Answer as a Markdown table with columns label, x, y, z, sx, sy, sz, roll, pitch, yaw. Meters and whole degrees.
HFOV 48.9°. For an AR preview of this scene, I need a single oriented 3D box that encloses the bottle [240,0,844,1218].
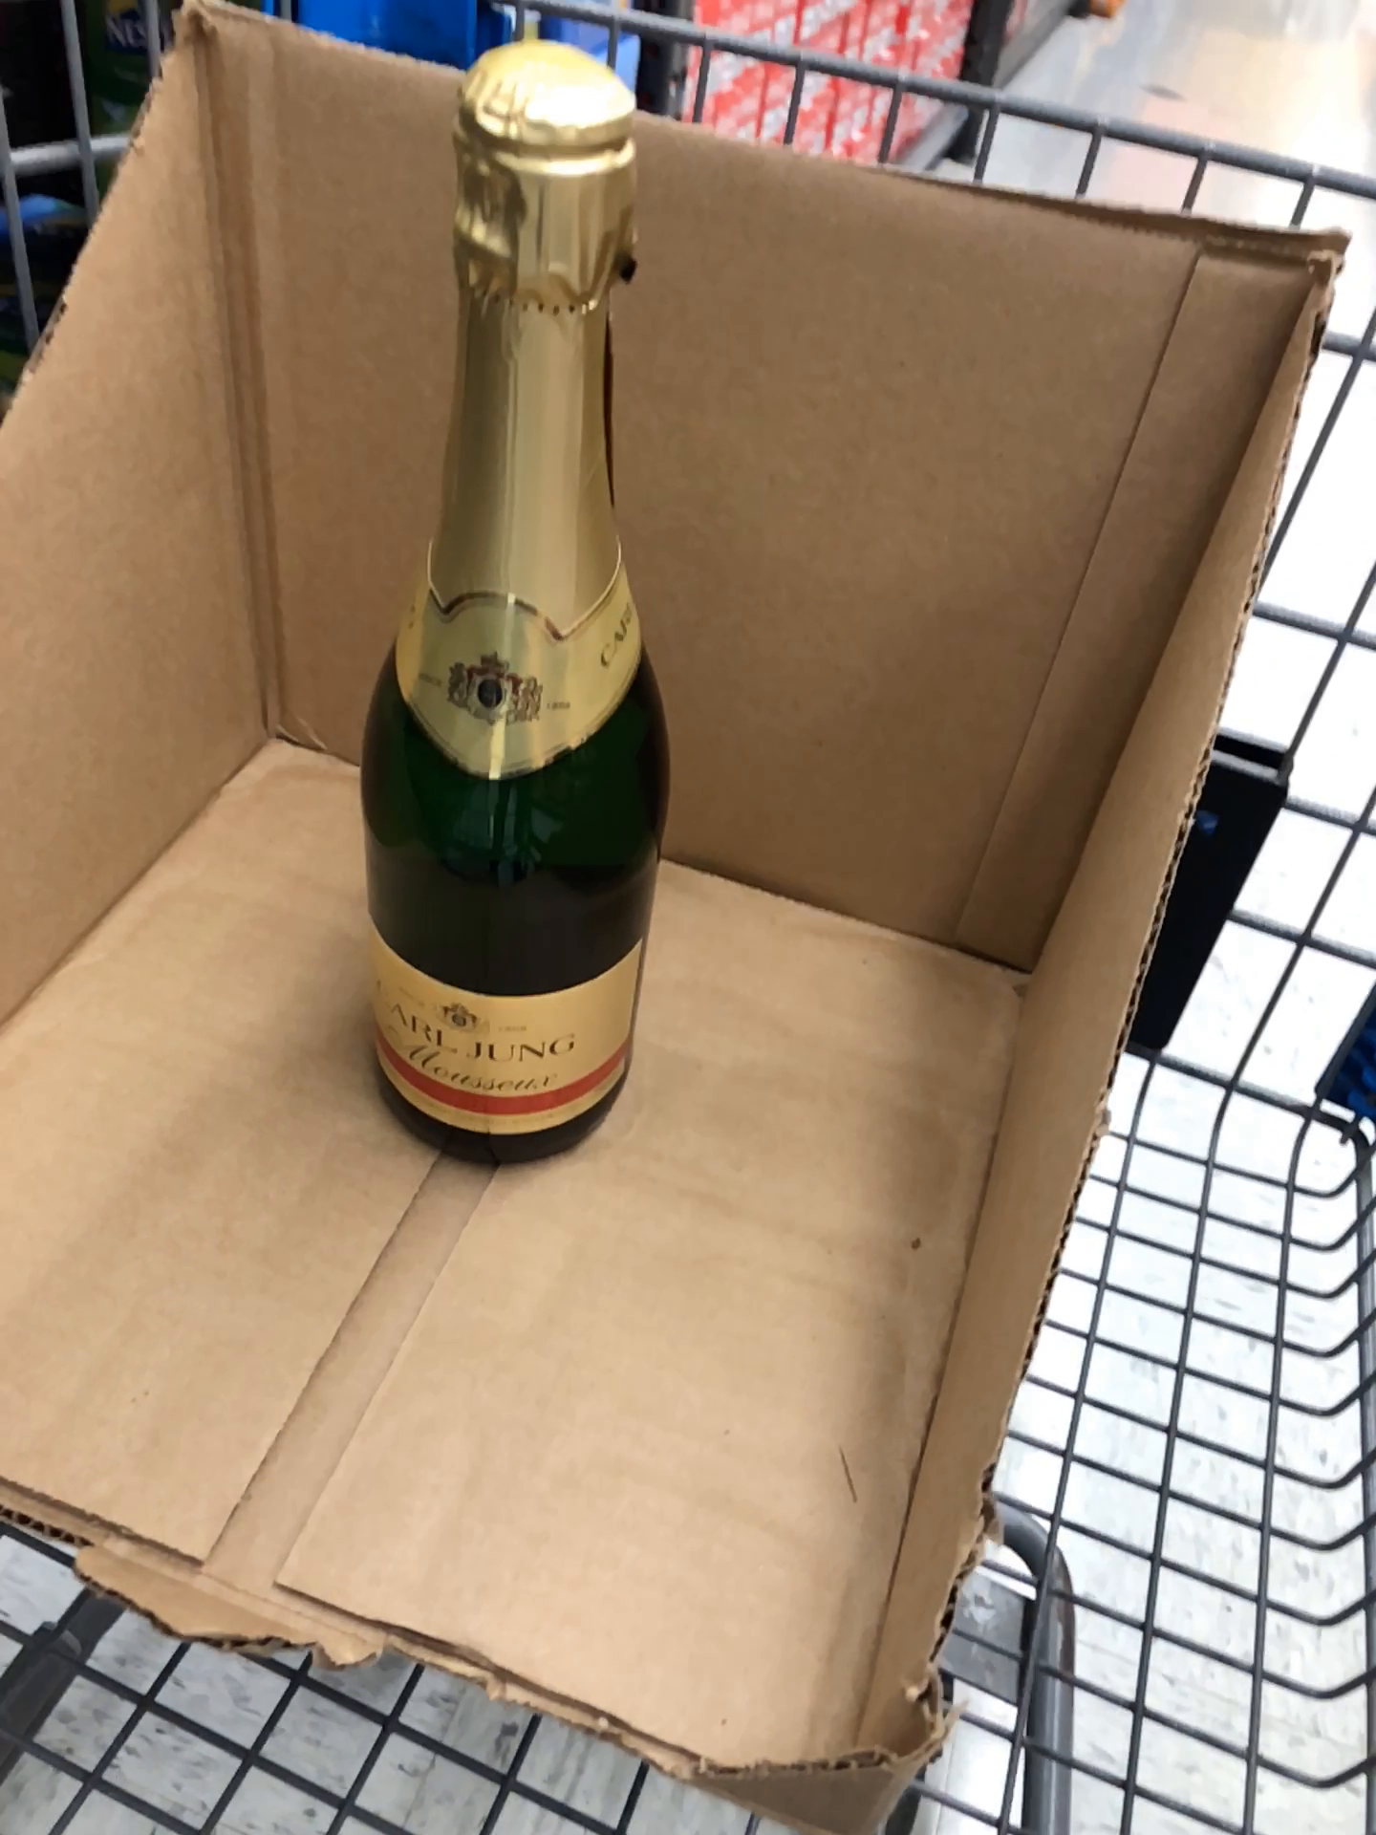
| label | x | y | z | sx | sy | sz | roll | pitch | yaw |
| --- | --- | --- | --- | --- | --- | --- | --- | --- | --- |
| bottle | -0.042 | -0.058 | 0.376 | 0.090 | 0.288 | 0.081 | 17 | 41 | 7 |
